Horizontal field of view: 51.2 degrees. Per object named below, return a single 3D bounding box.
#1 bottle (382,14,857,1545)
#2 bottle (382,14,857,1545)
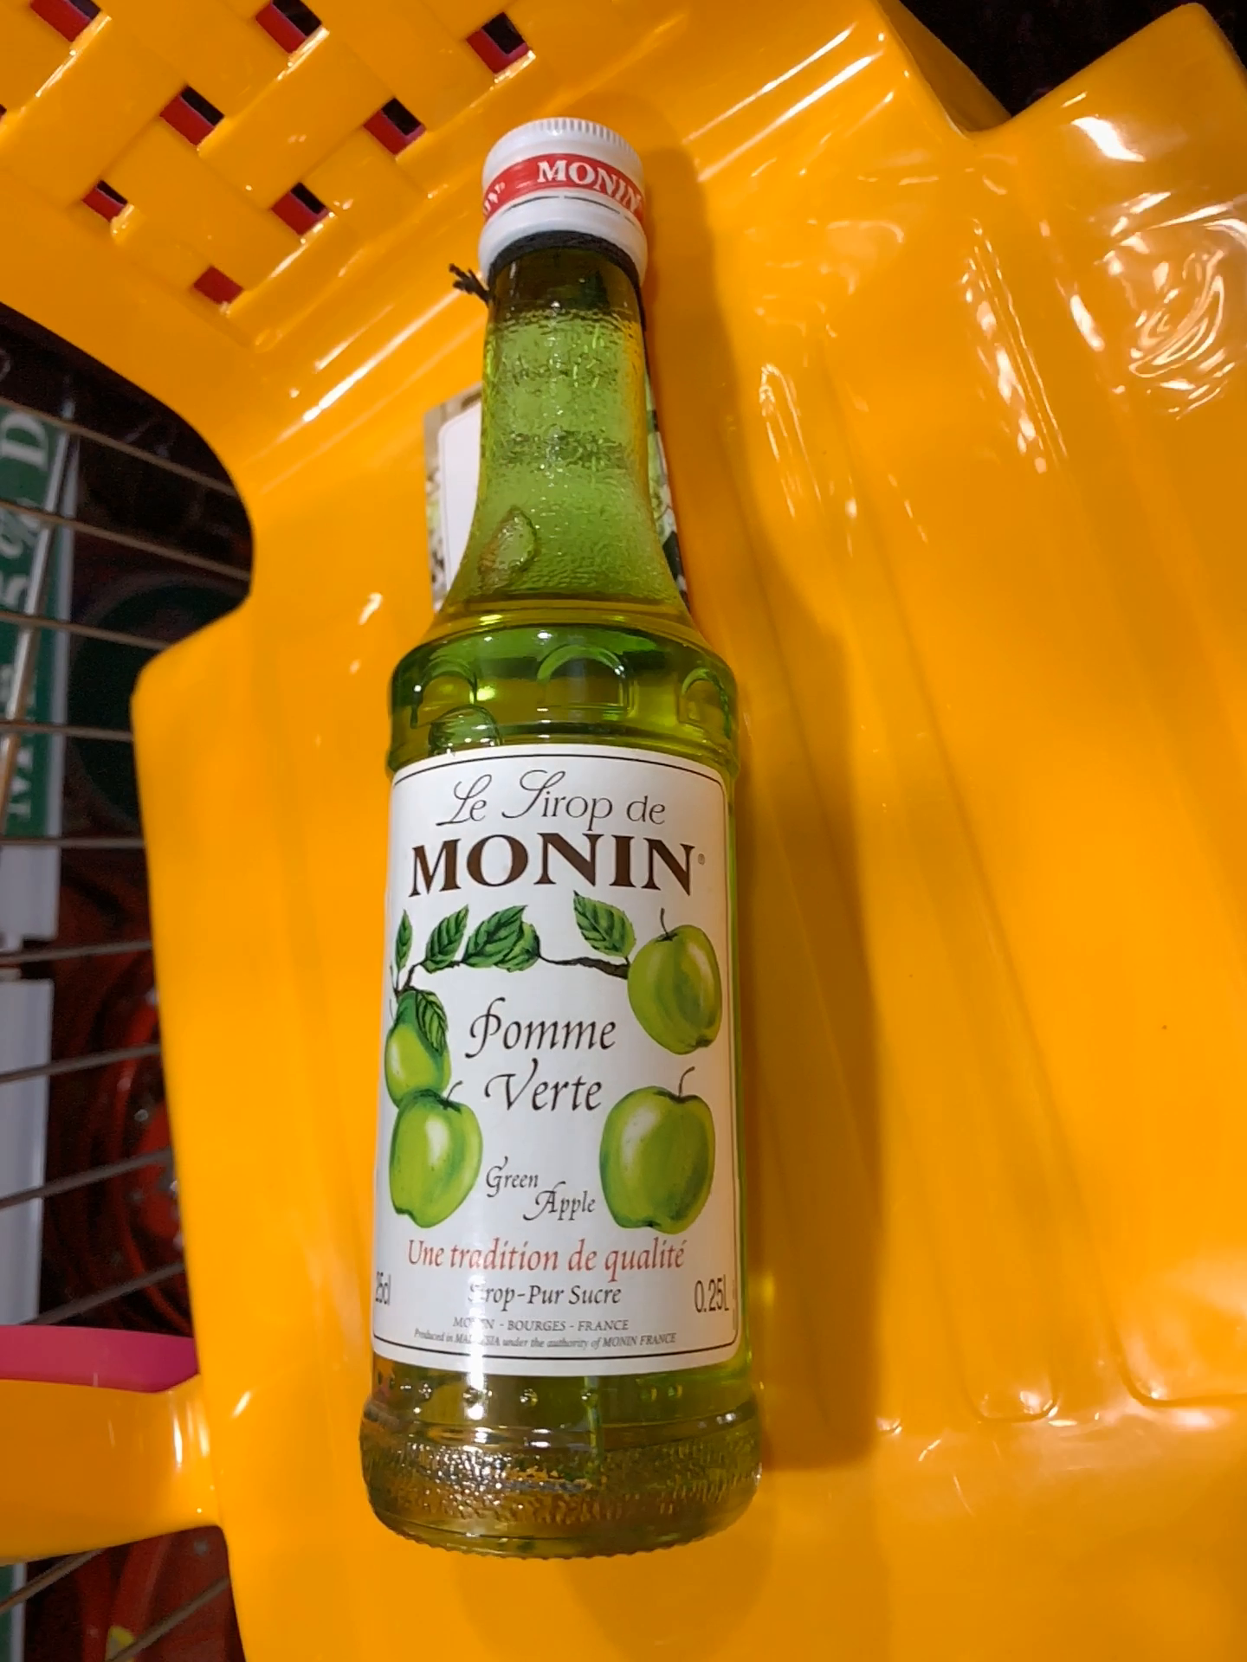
[{"bbox_3d":[-0.005,-0.012,0.218,0.060,0.060,0.220,141,130,-73],"label":"bottle"},{"bbox_3d":[-0.005,-0.012,0.218,0.060,0.060,0.220,141,130,-73],"label":"bottle"}]
